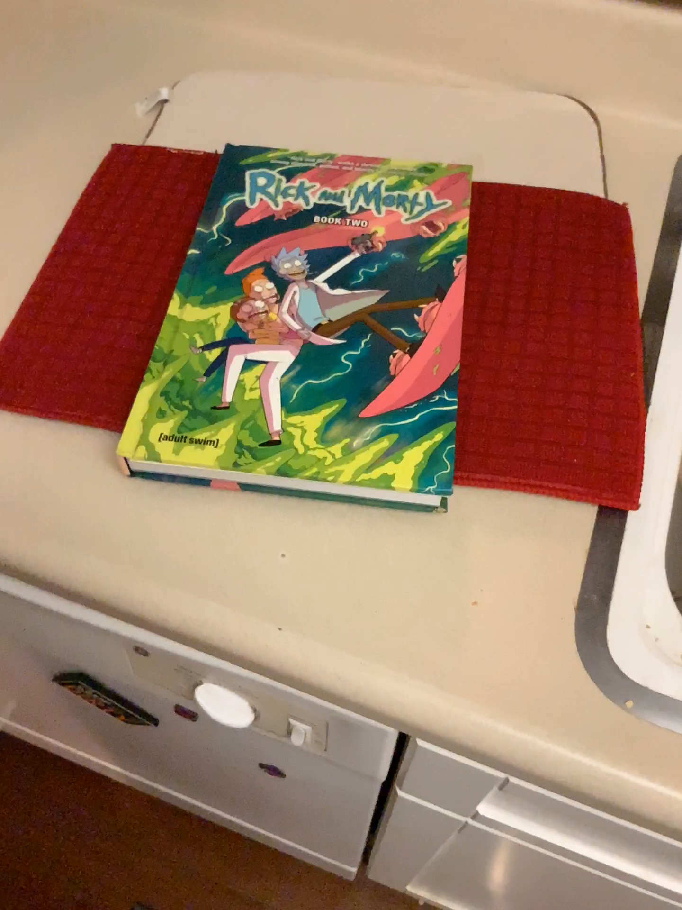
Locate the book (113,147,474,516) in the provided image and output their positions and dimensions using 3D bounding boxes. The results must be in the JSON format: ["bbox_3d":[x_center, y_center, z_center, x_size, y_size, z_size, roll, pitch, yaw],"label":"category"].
[{"bbox_3d":[-0.014,-0.106,0.536,0.200,0.030,0.300,7,56,4],"label":"book"}]
